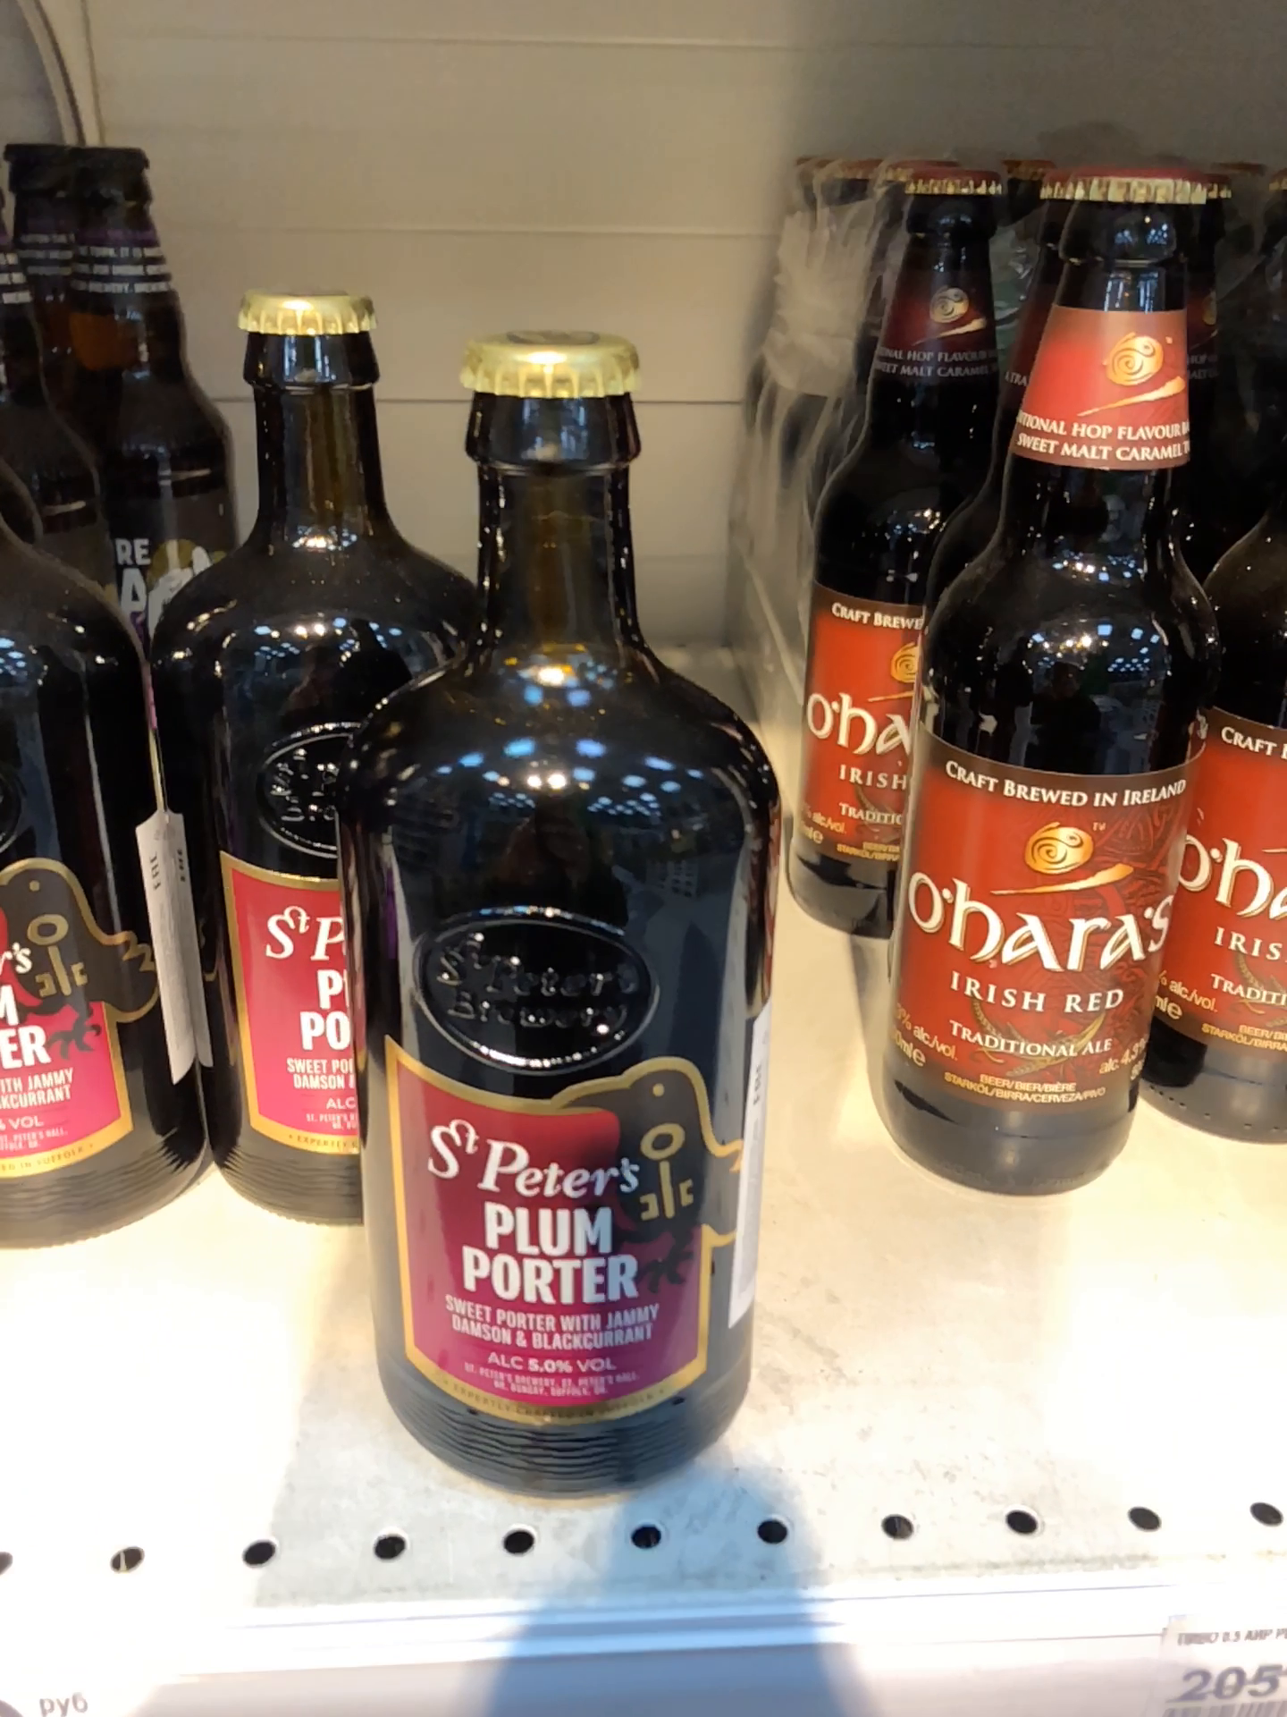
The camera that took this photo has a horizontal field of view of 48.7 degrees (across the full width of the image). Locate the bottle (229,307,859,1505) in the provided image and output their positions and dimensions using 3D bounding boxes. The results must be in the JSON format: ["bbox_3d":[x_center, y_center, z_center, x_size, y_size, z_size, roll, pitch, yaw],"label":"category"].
[{"bbox_3d":[-0.013,0.016,0.256,0.082,0.209,0.059,1,25,1],"label":"bottle"}]

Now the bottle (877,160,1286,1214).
[{"bbox_3d":[0.100,-0.035,0.335,0.071,0.231,0.070,0,25,0],"label":"bottle"}]

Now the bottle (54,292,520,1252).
[{"bbox_3d":[-0.075,-0.018,0.340,0.079,0.213,0.070,-4,25,-10],"label":"bottle"}]
